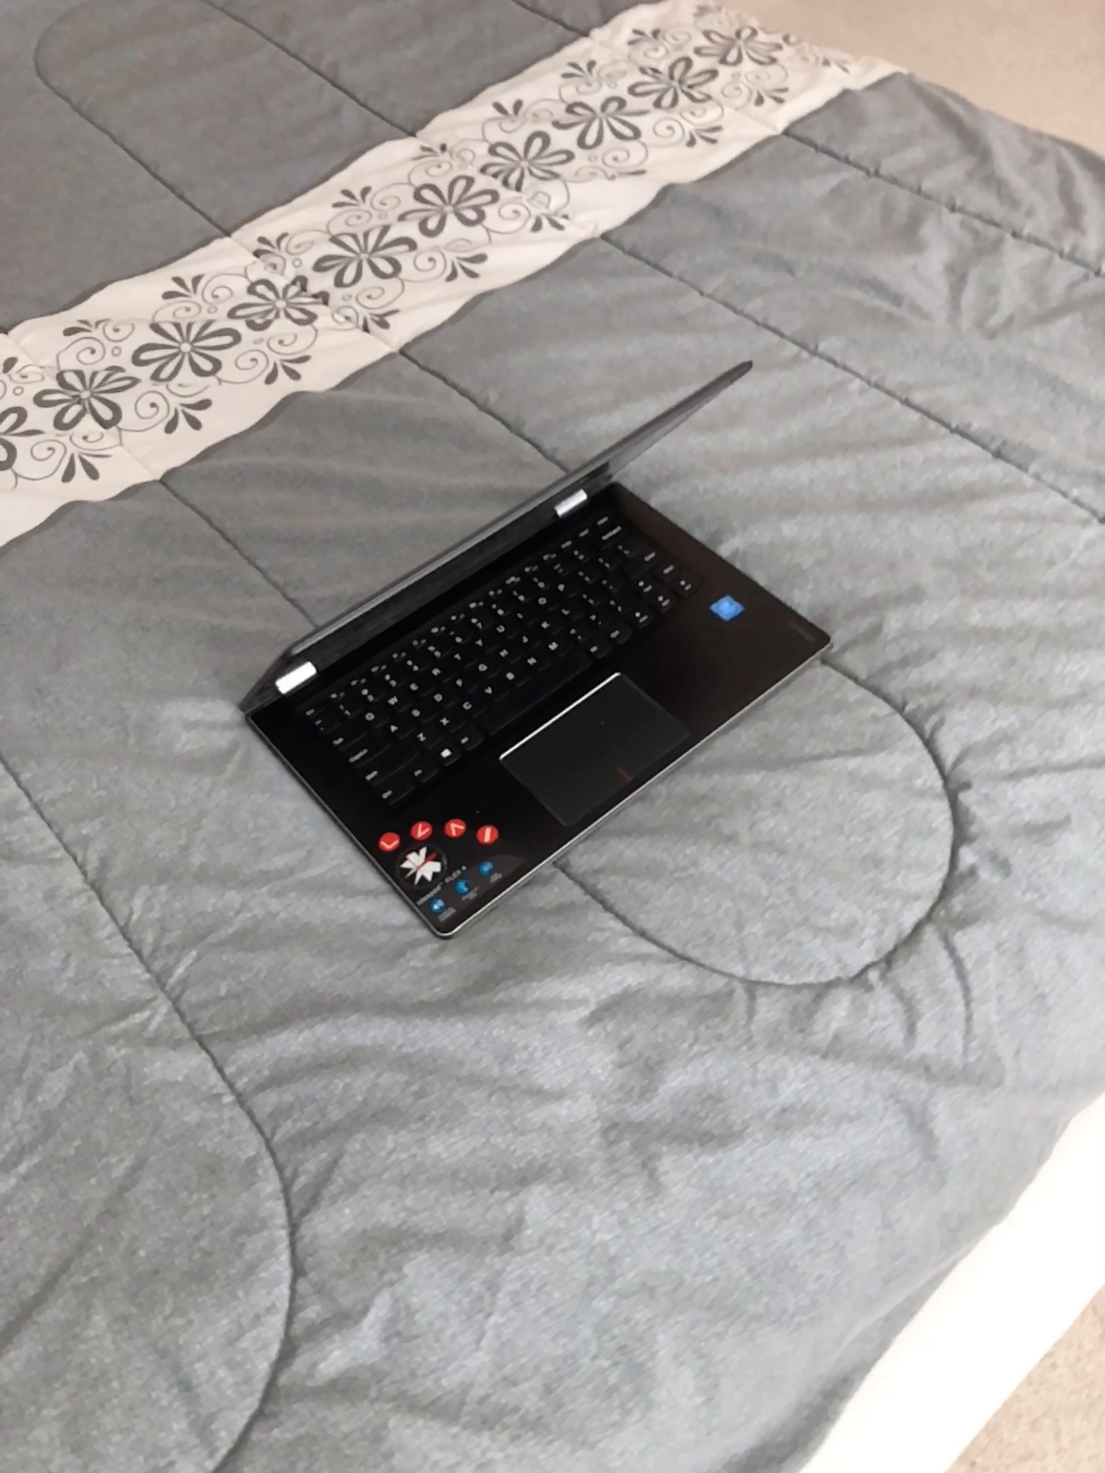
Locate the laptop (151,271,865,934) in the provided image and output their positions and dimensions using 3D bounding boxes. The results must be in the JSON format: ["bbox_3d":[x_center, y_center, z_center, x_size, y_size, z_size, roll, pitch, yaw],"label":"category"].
[{"bbox_3d":[-0.018,-0.087,0.699,0.304,0.167,0.215,-35,58,-19],"label":"laptop"}]
